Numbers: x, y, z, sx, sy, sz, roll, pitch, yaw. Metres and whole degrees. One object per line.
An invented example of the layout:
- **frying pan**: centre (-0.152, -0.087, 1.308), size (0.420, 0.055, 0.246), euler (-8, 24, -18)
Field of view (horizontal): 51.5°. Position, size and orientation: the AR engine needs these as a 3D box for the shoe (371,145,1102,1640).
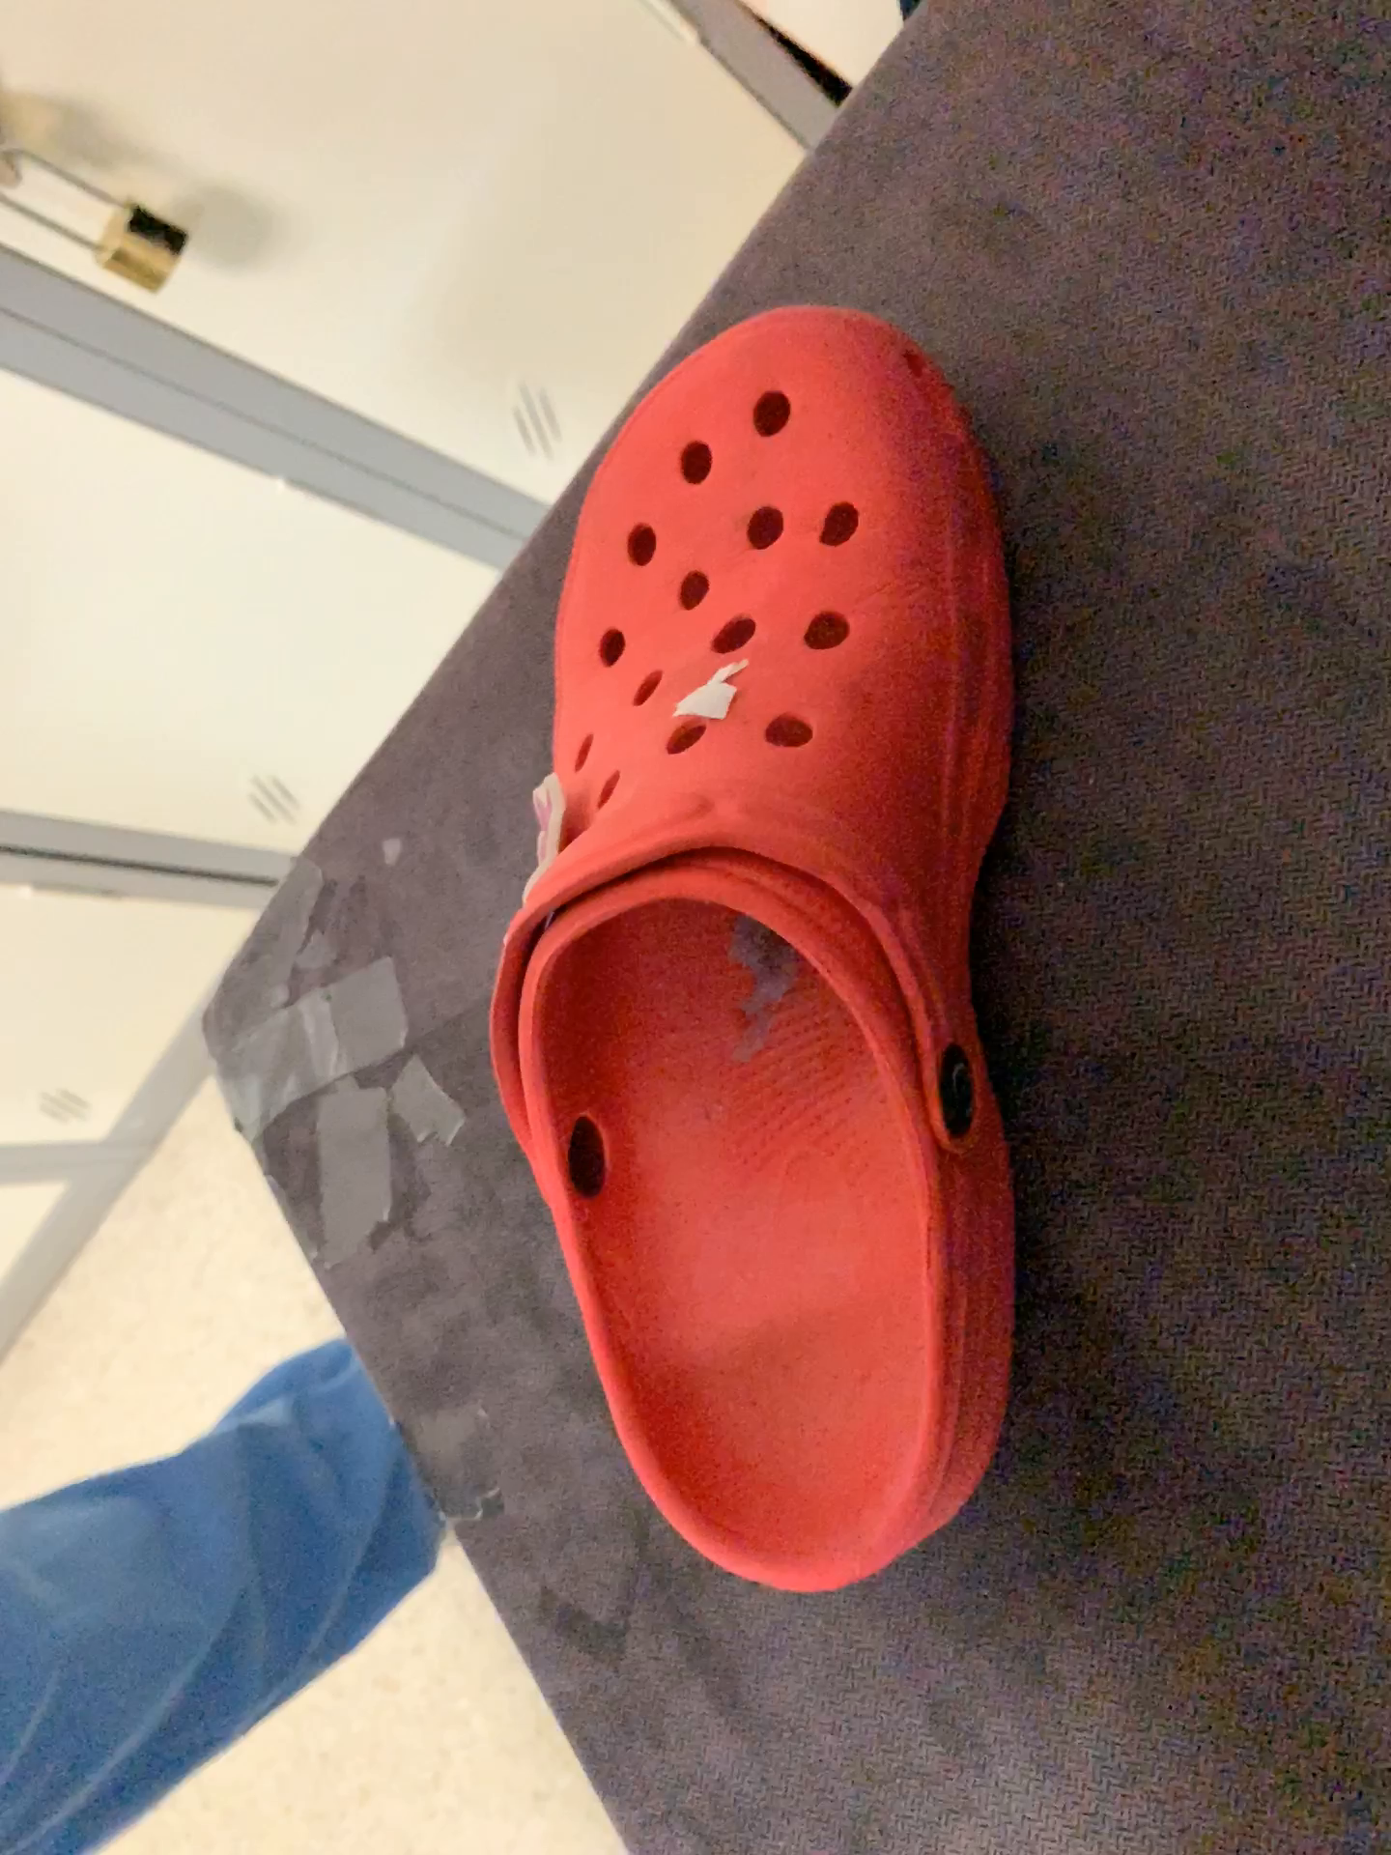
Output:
- **shoe**: centre (0.005, -0.004, 0.258), size (0.092, 0.081, 0.208), euler (-8, 81, 35)
